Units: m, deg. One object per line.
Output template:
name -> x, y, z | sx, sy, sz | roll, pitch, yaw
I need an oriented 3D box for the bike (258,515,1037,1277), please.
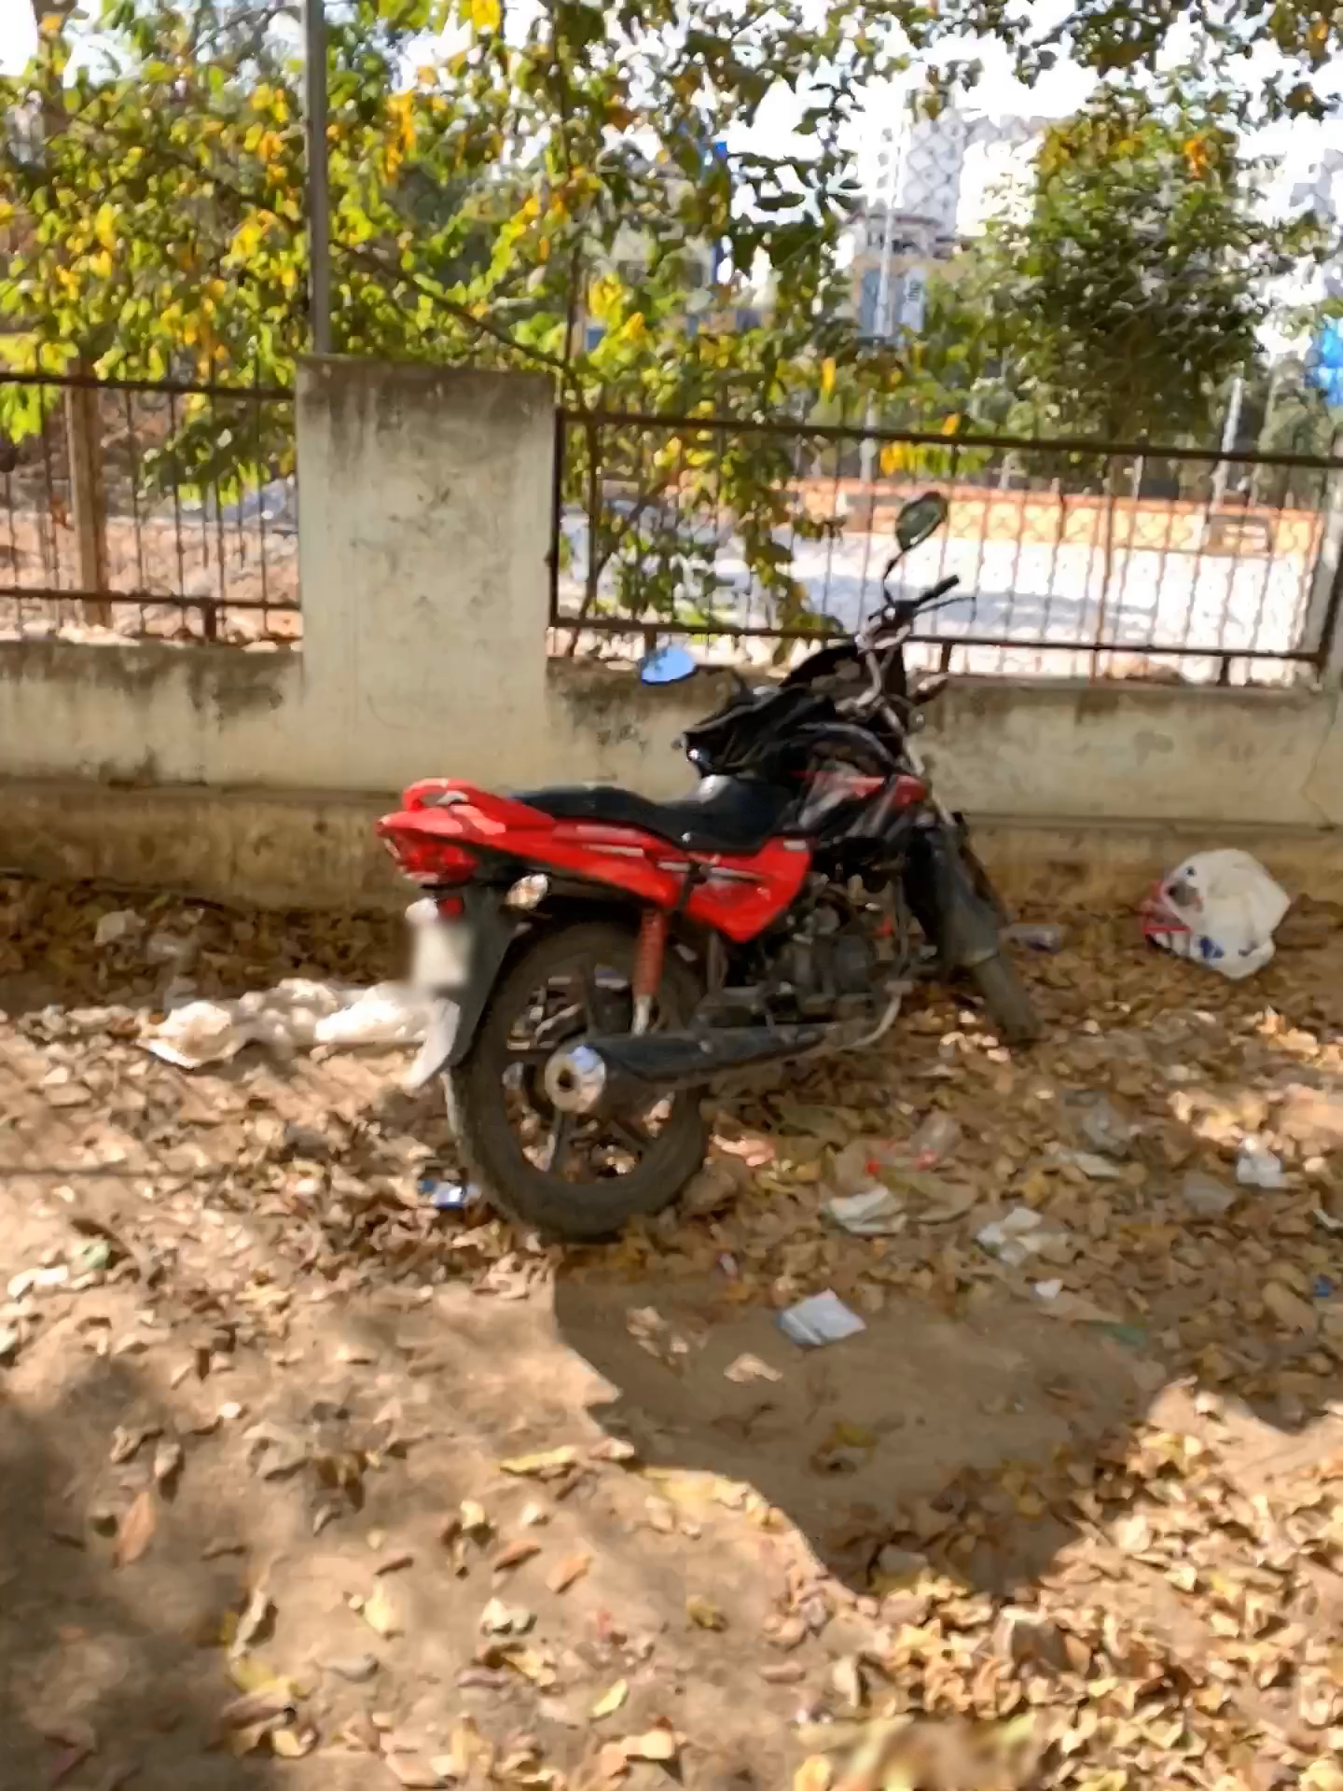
bike -> -0.029, -0.148, 2.773 | 0.824, 1.068, 1.292 | 20, 27, 40
